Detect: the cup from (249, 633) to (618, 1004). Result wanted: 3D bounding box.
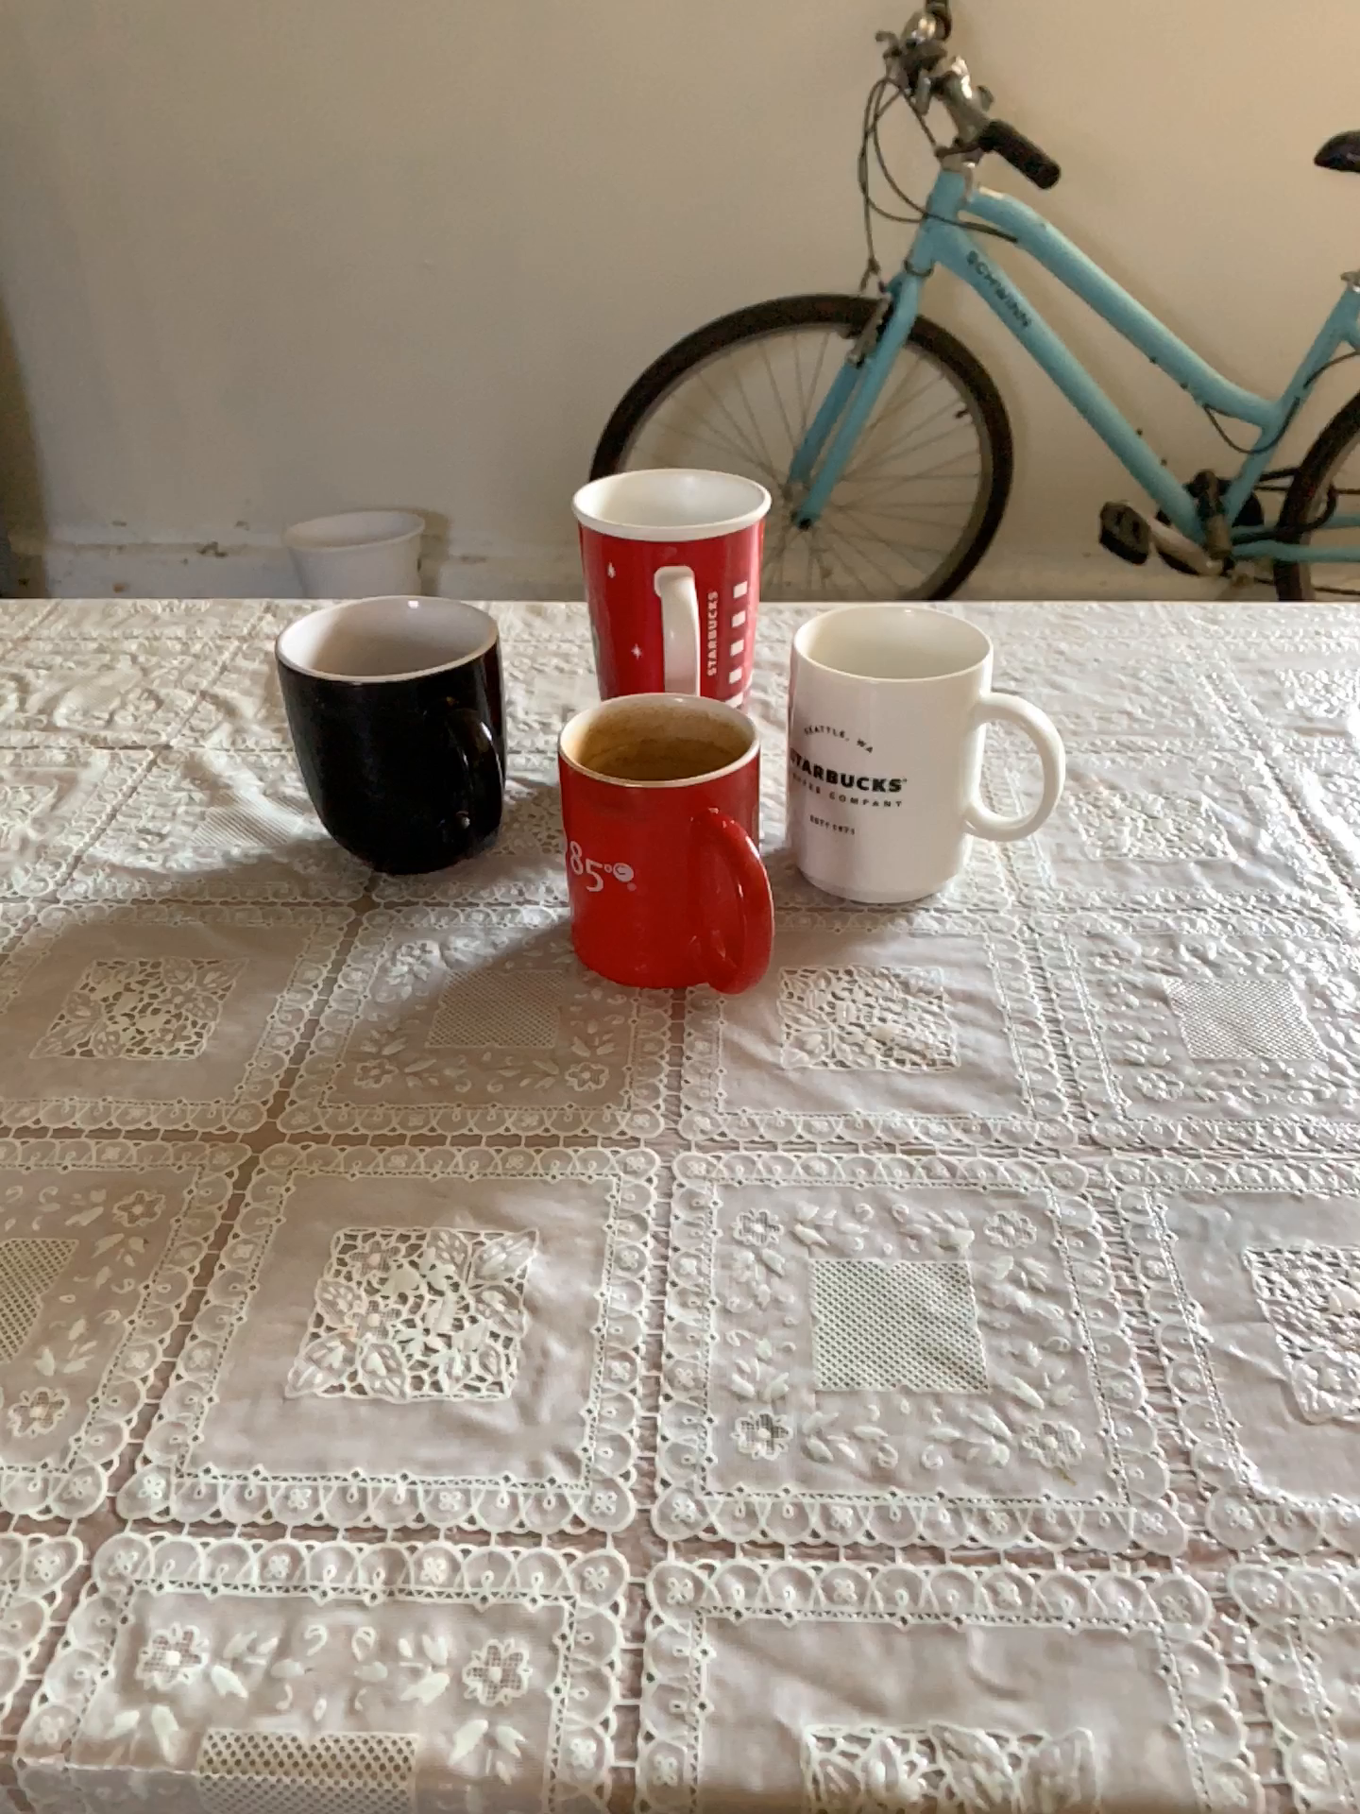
[{"bbox_3d":[-0.113,-0.047,0.636,0.100,0.090,0.151,-22,38,-27],"label":"cup"}]

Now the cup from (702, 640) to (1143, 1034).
[{"bbox_3d":[0.095,-0.035,0.576,0.141,0.090,0.100,24,41,33],"label":"cup"}]

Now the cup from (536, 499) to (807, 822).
[{"bbox_3d":[-0.008,-0.118,0.642,0.100,0.090,0.141,-6,34,-6],"label":"cup"}]

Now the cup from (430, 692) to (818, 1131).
[{"bbox_3d":[-0.022,-0.005,0.510,0.080,0.090,0.131,-20,38,-25],"label":"cup"}]
